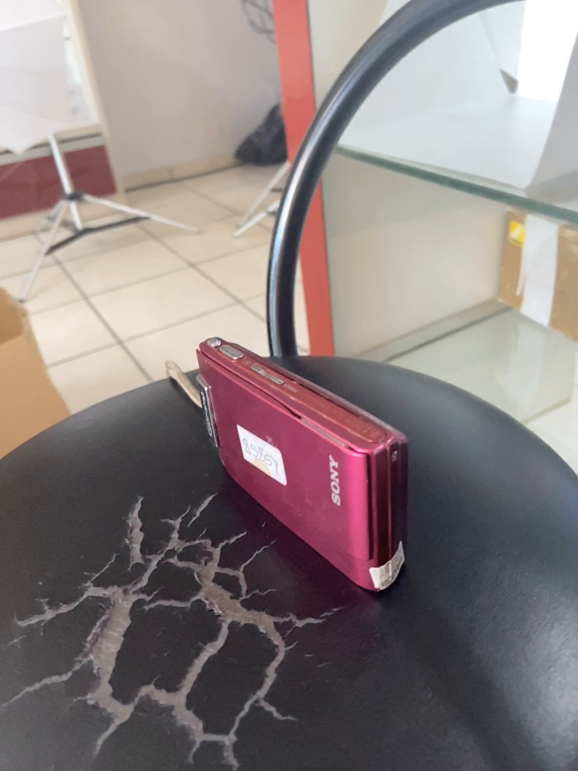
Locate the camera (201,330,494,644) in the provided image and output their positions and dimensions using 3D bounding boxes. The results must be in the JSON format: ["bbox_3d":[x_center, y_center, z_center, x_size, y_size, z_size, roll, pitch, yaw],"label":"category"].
[{"bbox_3d":[0.015,0.028,0.206,0.030,0.060,0.100,-29,39,-30],"label":"camera"}]
